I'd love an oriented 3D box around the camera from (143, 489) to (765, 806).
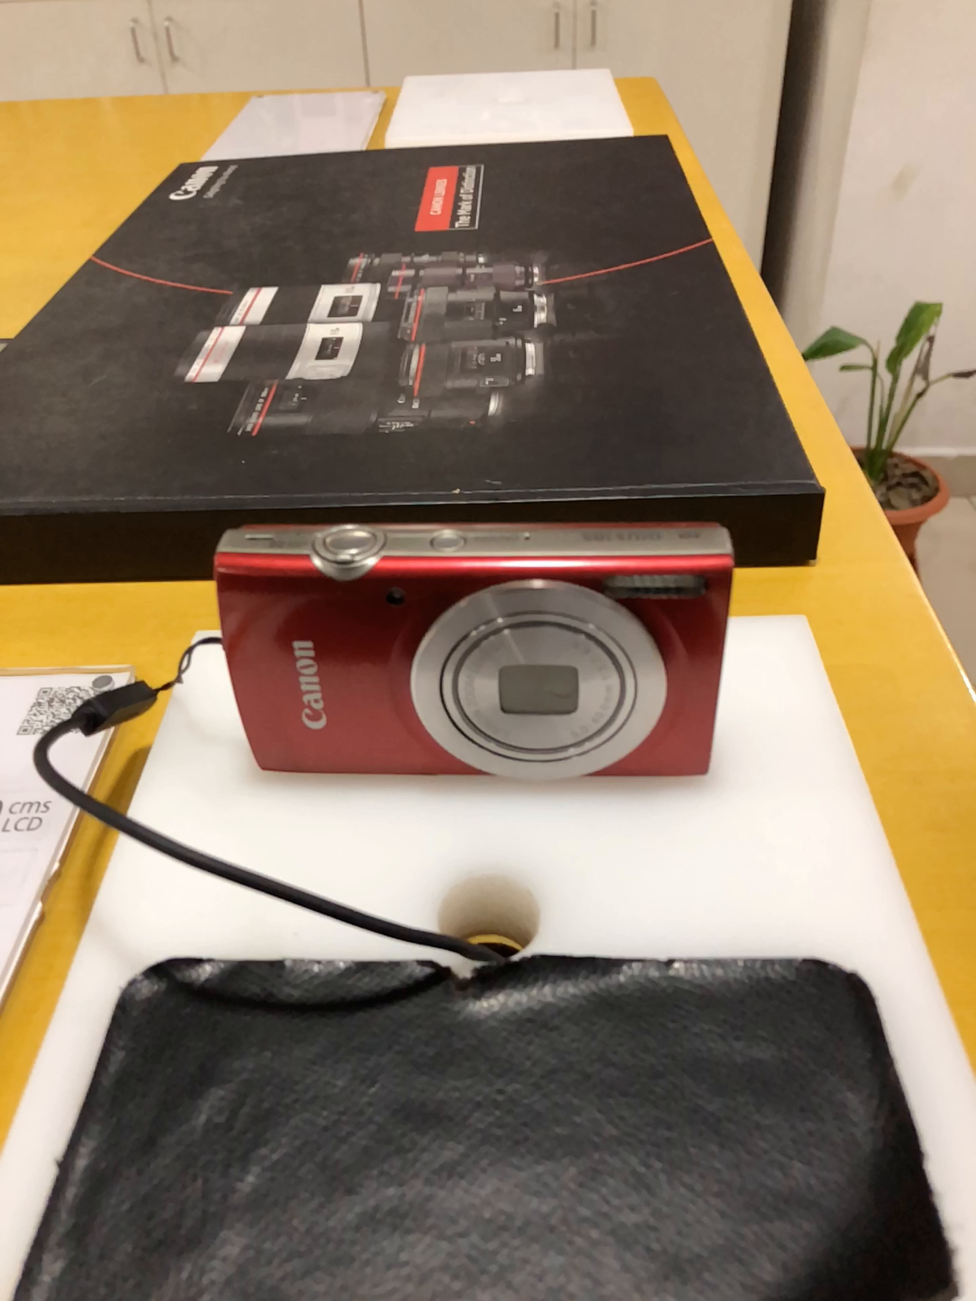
[{"bbox_3d":[-0.005,0.000,0.201,0.100,0.050,0.030,0,38,3],"label":"camera"}]
